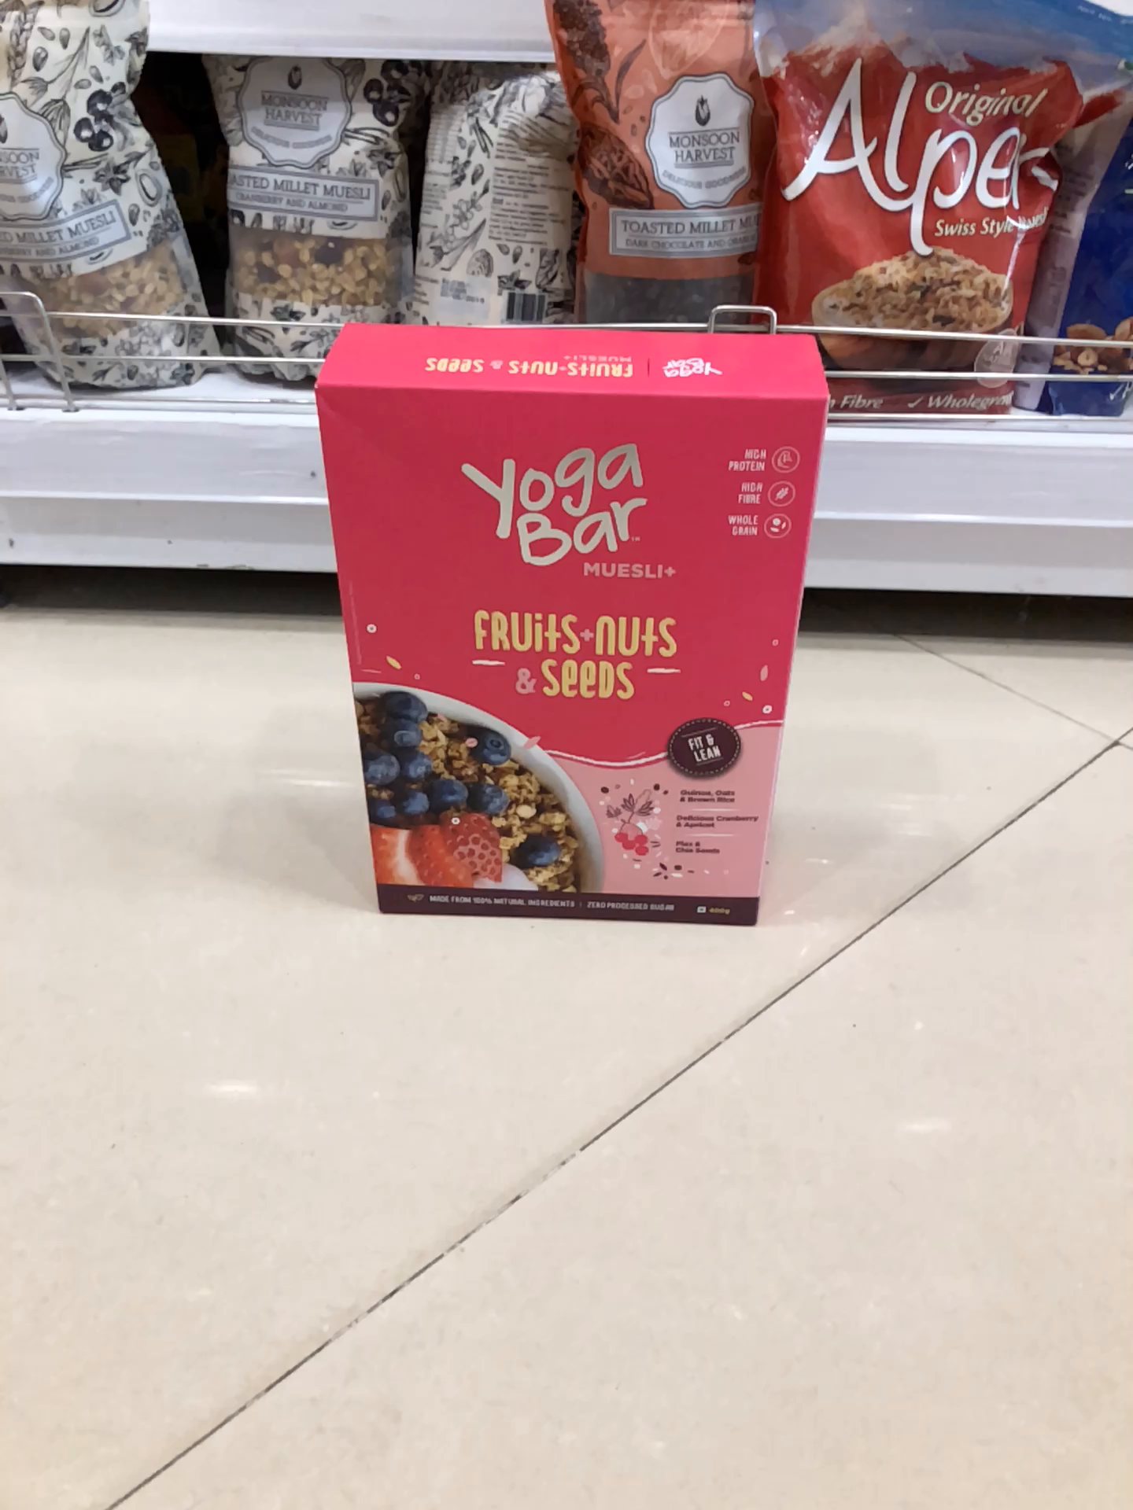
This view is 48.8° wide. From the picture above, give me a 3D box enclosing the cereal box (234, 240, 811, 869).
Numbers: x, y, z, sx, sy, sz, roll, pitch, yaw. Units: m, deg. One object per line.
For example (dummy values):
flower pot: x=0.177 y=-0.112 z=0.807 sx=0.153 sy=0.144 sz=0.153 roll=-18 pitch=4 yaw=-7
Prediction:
cereal box: x=-0.013 y=-0.062 z=0.462 sx=0.170 sy=0.228 sz=0.060 roll=0 pitch=38 yaw=0
